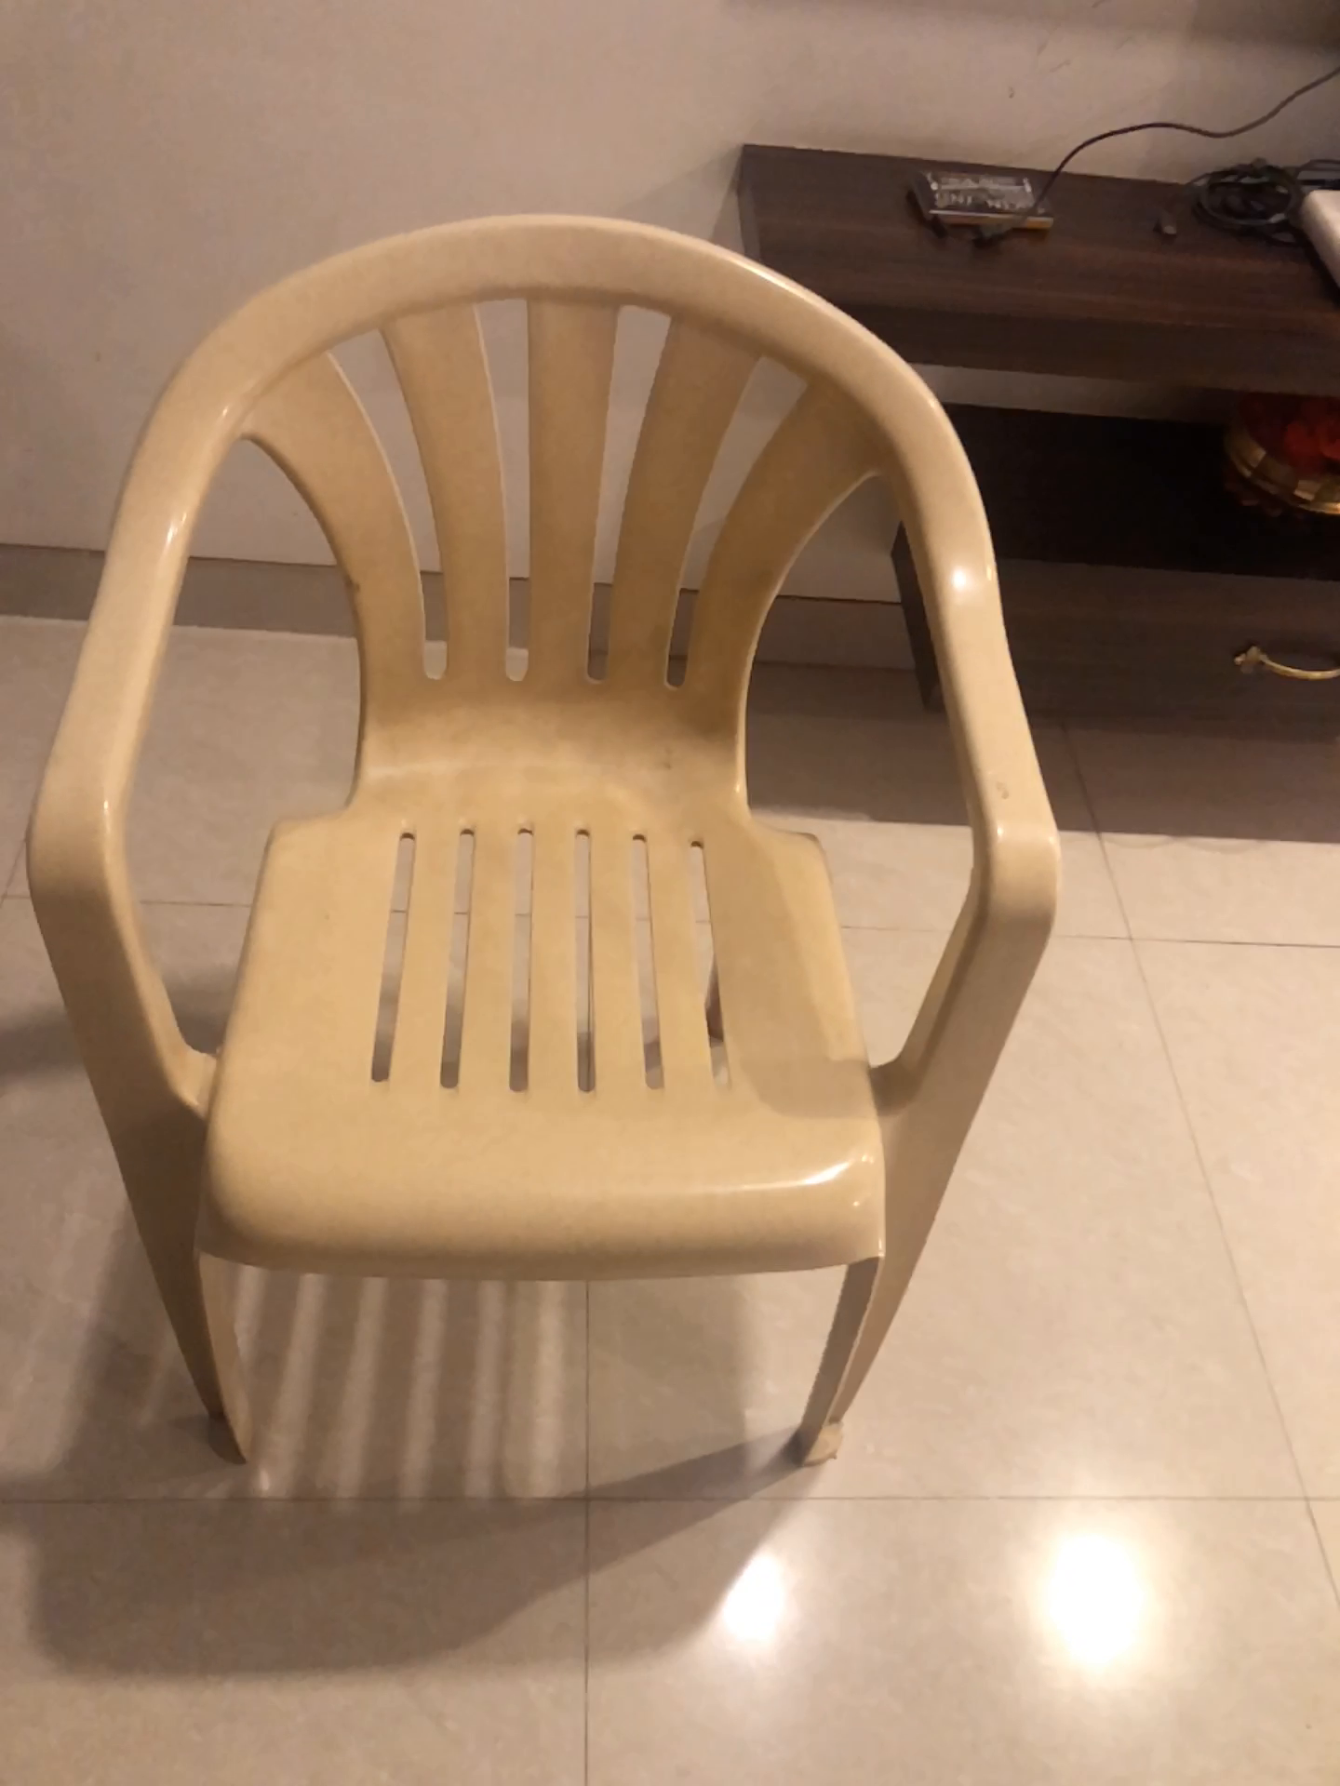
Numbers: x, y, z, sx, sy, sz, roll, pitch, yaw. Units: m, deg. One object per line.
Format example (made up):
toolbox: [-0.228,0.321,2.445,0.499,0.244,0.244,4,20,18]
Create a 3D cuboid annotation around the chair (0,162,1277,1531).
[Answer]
chair: [-0.085,0.016,1.065,0.570,0.775,0.594,1,49,-7]
